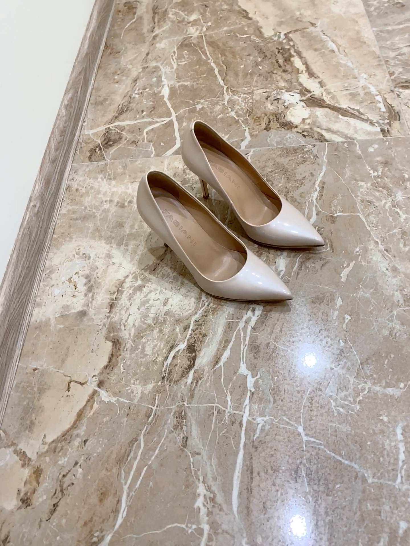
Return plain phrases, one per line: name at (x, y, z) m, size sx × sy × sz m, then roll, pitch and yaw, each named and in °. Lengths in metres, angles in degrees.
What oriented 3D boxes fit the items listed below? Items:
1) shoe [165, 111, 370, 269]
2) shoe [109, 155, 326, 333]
shoe at (0.078, -0.117, 0.573) m, size 0.241 × 0.110 × 0.090 m, roll 26°, pitch 64°, yaw 23°
shoe at (0.014, -0.040, 0.533) m, size 0.241 × 0.120 × 0.090 m, roll 26°, pitch 64°, yaw 23°
